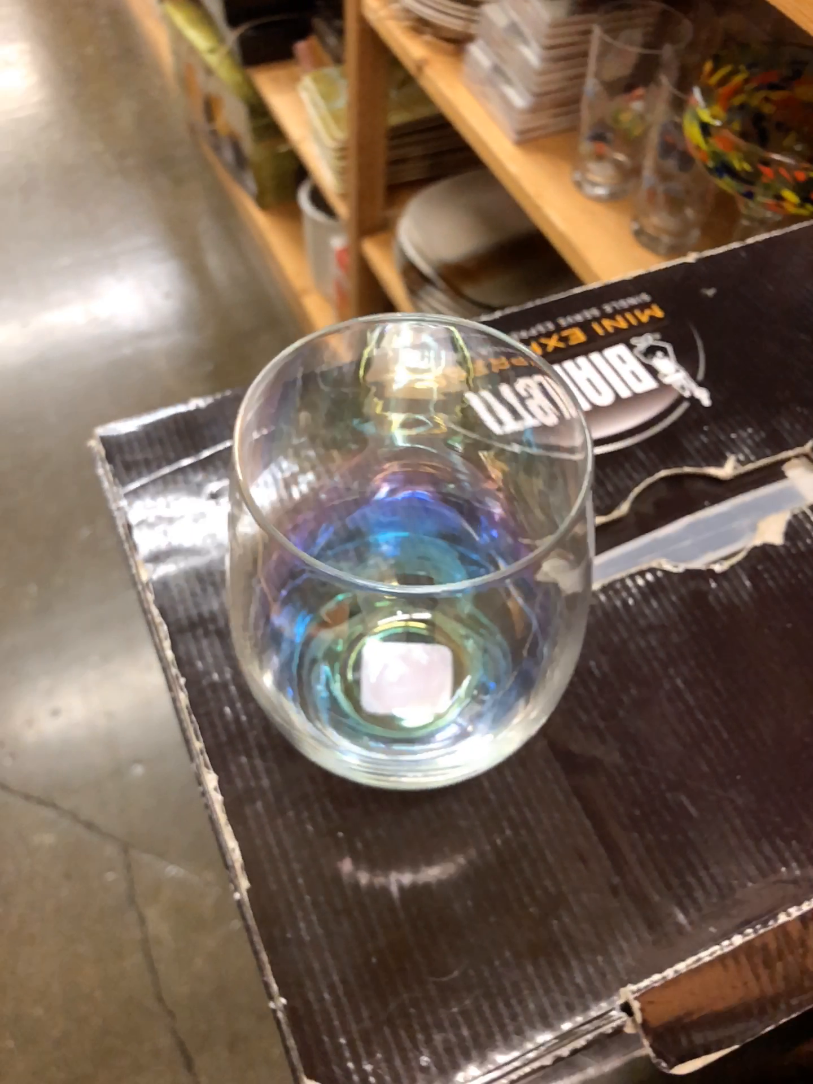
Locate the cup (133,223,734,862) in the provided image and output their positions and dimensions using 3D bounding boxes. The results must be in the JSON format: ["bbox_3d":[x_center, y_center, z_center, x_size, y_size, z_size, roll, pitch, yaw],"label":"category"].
[{"bbox_3d":[0.000,0.004,0.228,0.089,0.107,0.093,1,57,-2],"label":"cup"}]
